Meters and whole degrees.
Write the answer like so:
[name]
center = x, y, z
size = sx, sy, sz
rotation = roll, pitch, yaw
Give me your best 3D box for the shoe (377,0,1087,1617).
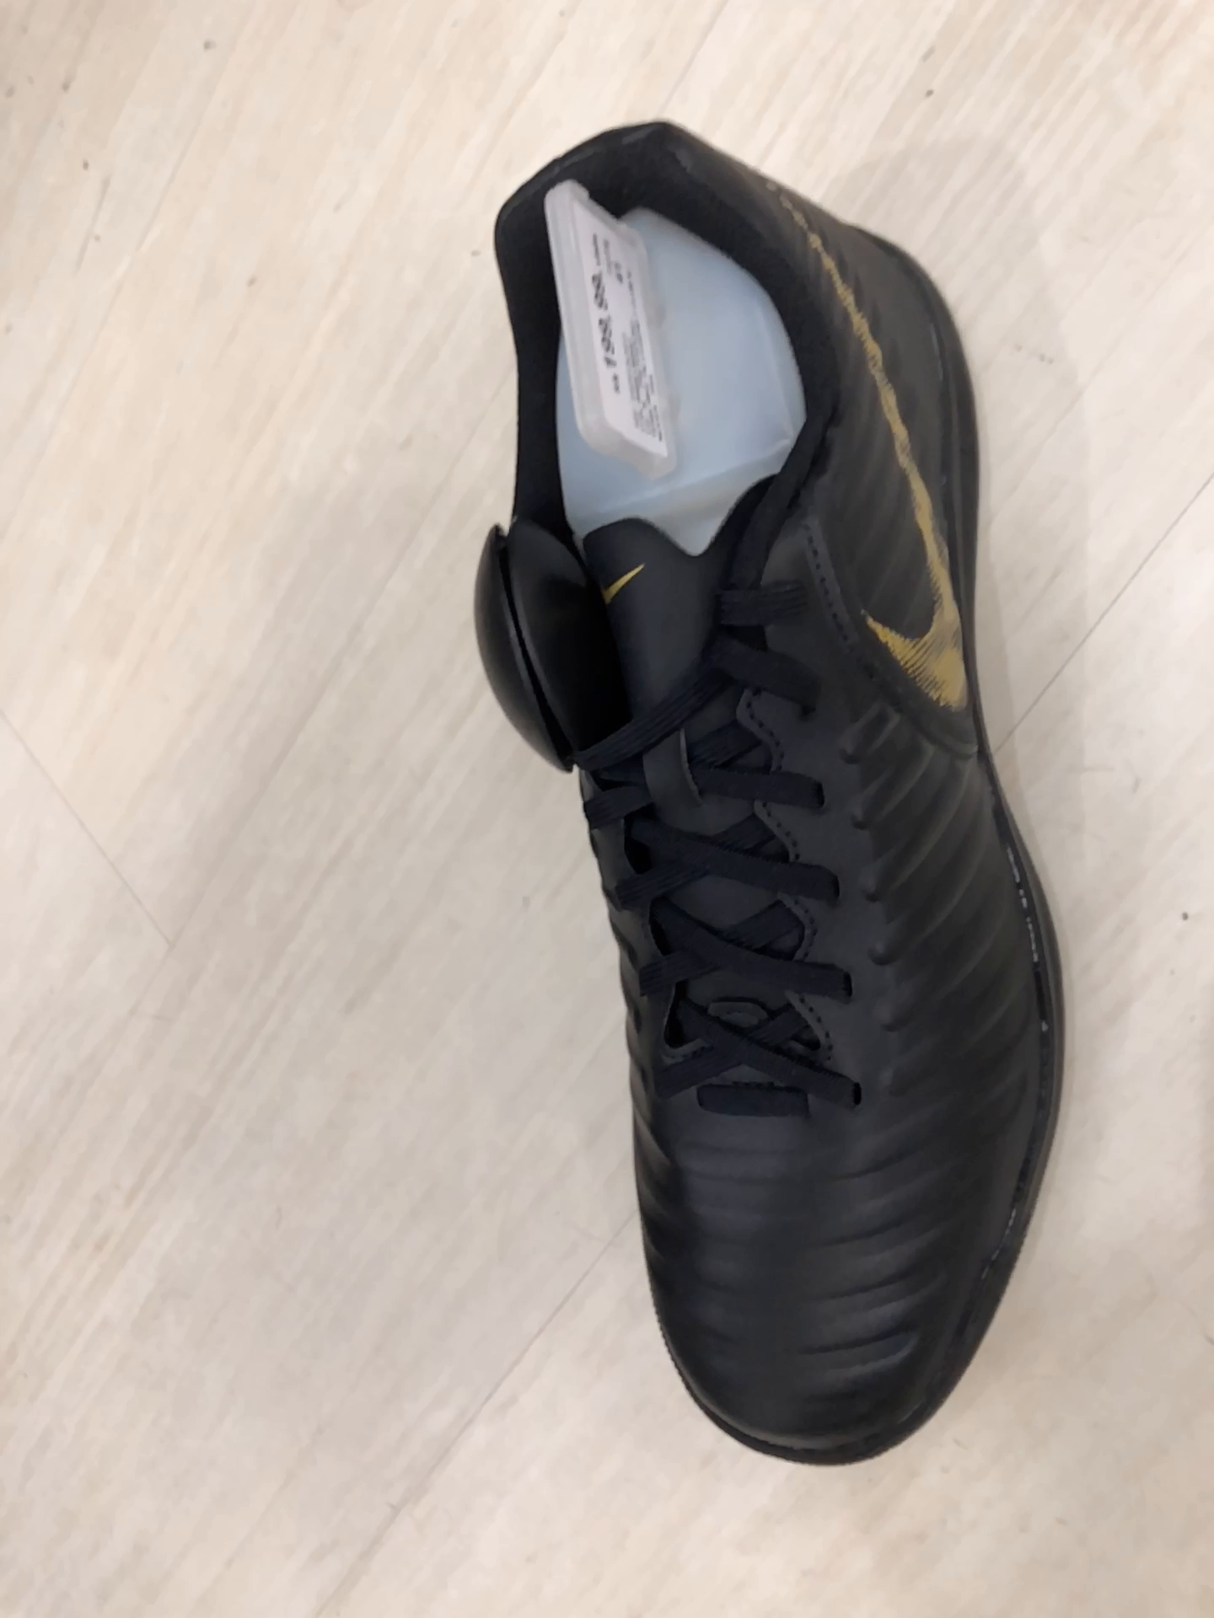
[shoe]
center = 0.028, 0.001, 0.289
size = 0.100, 0.110, 0.290
rotation = -5, 83, 34
